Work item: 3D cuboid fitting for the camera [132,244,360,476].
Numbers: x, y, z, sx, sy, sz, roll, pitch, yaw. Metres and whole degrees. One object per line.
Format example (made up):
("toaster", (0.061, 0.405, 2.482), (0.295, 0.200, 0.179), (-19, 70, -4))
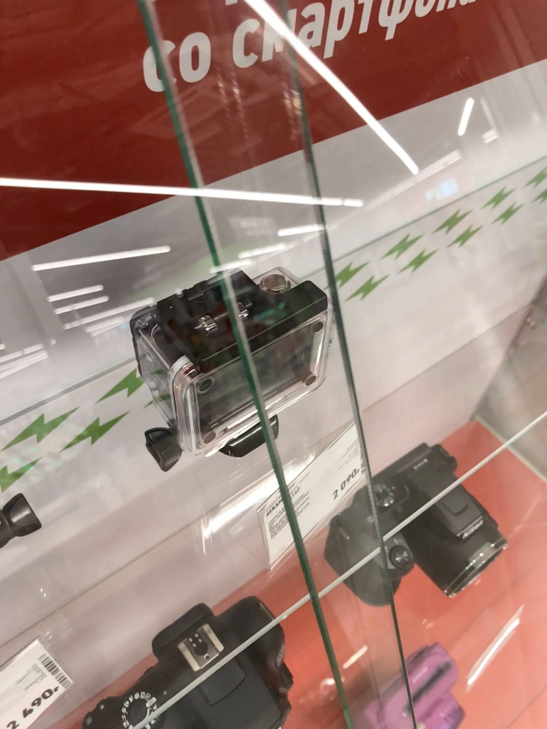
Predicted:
("camera", (-0.010, -0.003, 0.246), (0.075, 0.053, 0.040), (-30, 58, -27))
